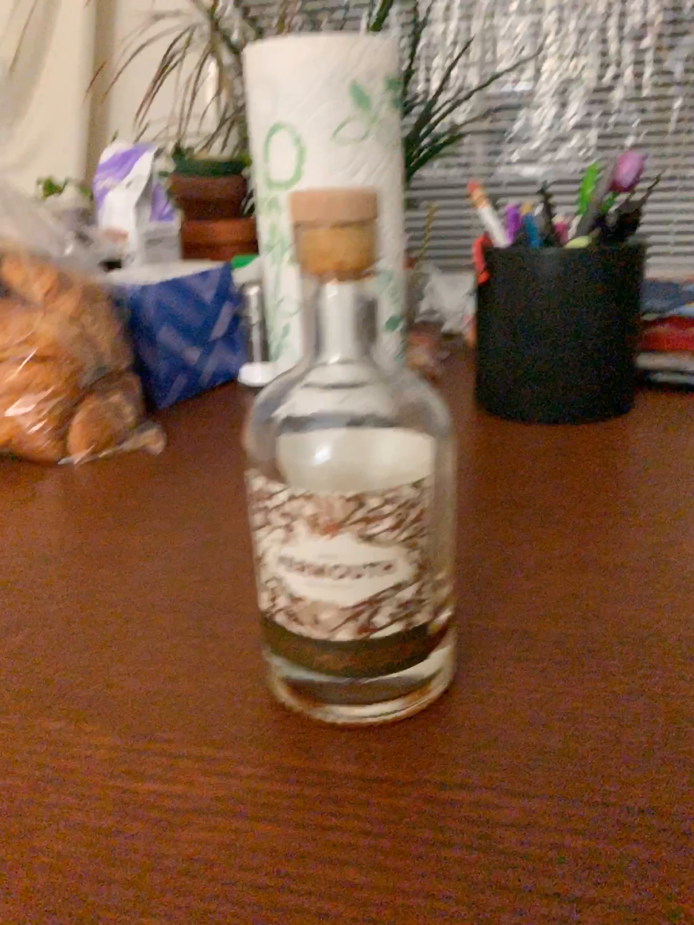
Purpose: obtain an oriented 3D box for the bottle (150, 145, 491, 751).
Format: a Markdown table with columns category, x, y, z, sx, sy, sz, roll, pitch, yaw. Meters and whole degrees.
| category | x | y | z | sx | sy | sz | roll | pitch | yaw |
| --- | --- | --- | --- | --- | --- | --- | --- | --- | --- |
| bottle | 0.003 | -0.006 | 0.255 | 0.090 | 0.189 | 0.080 | 1 | 22 | 11 |
